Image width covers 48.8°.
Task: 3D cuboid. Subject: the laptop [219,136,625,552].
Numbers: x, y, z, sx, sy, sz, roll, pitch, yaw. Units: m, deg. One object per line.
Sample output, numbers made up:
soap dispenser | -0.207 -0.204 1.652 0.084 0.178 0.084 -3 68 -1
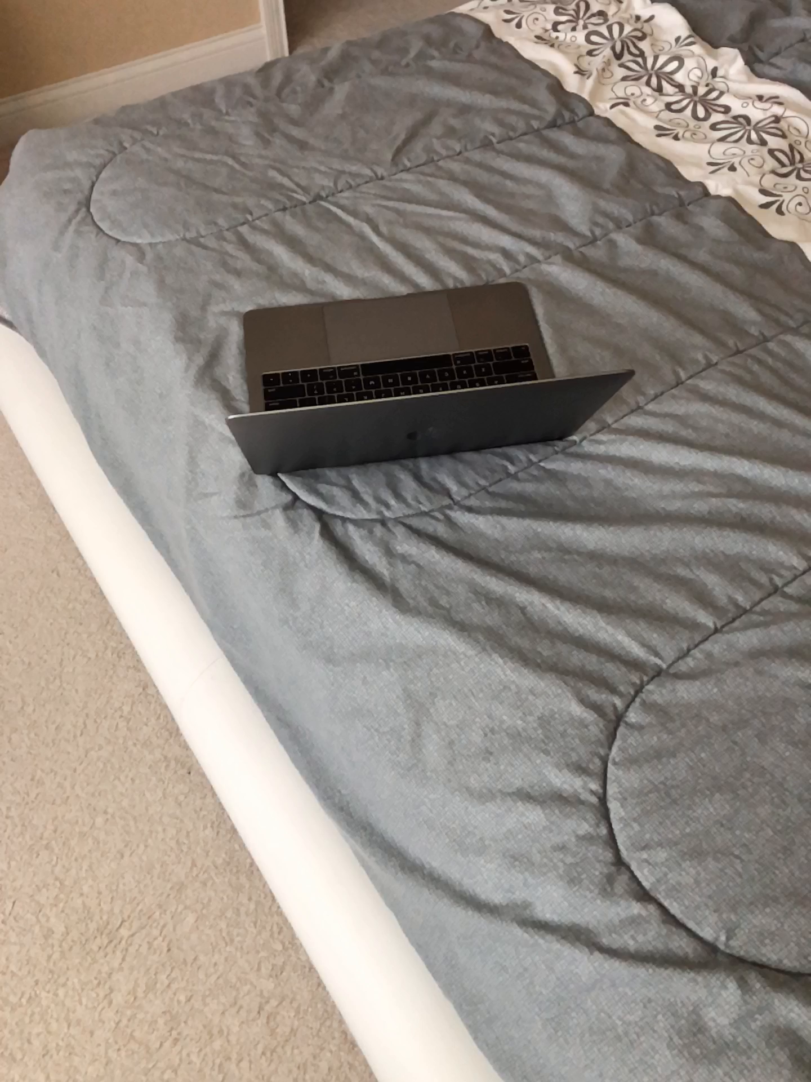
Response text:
laptop | -0.001 -0.174 0.763 0.279 0.159 0.282 -7 56 -4
